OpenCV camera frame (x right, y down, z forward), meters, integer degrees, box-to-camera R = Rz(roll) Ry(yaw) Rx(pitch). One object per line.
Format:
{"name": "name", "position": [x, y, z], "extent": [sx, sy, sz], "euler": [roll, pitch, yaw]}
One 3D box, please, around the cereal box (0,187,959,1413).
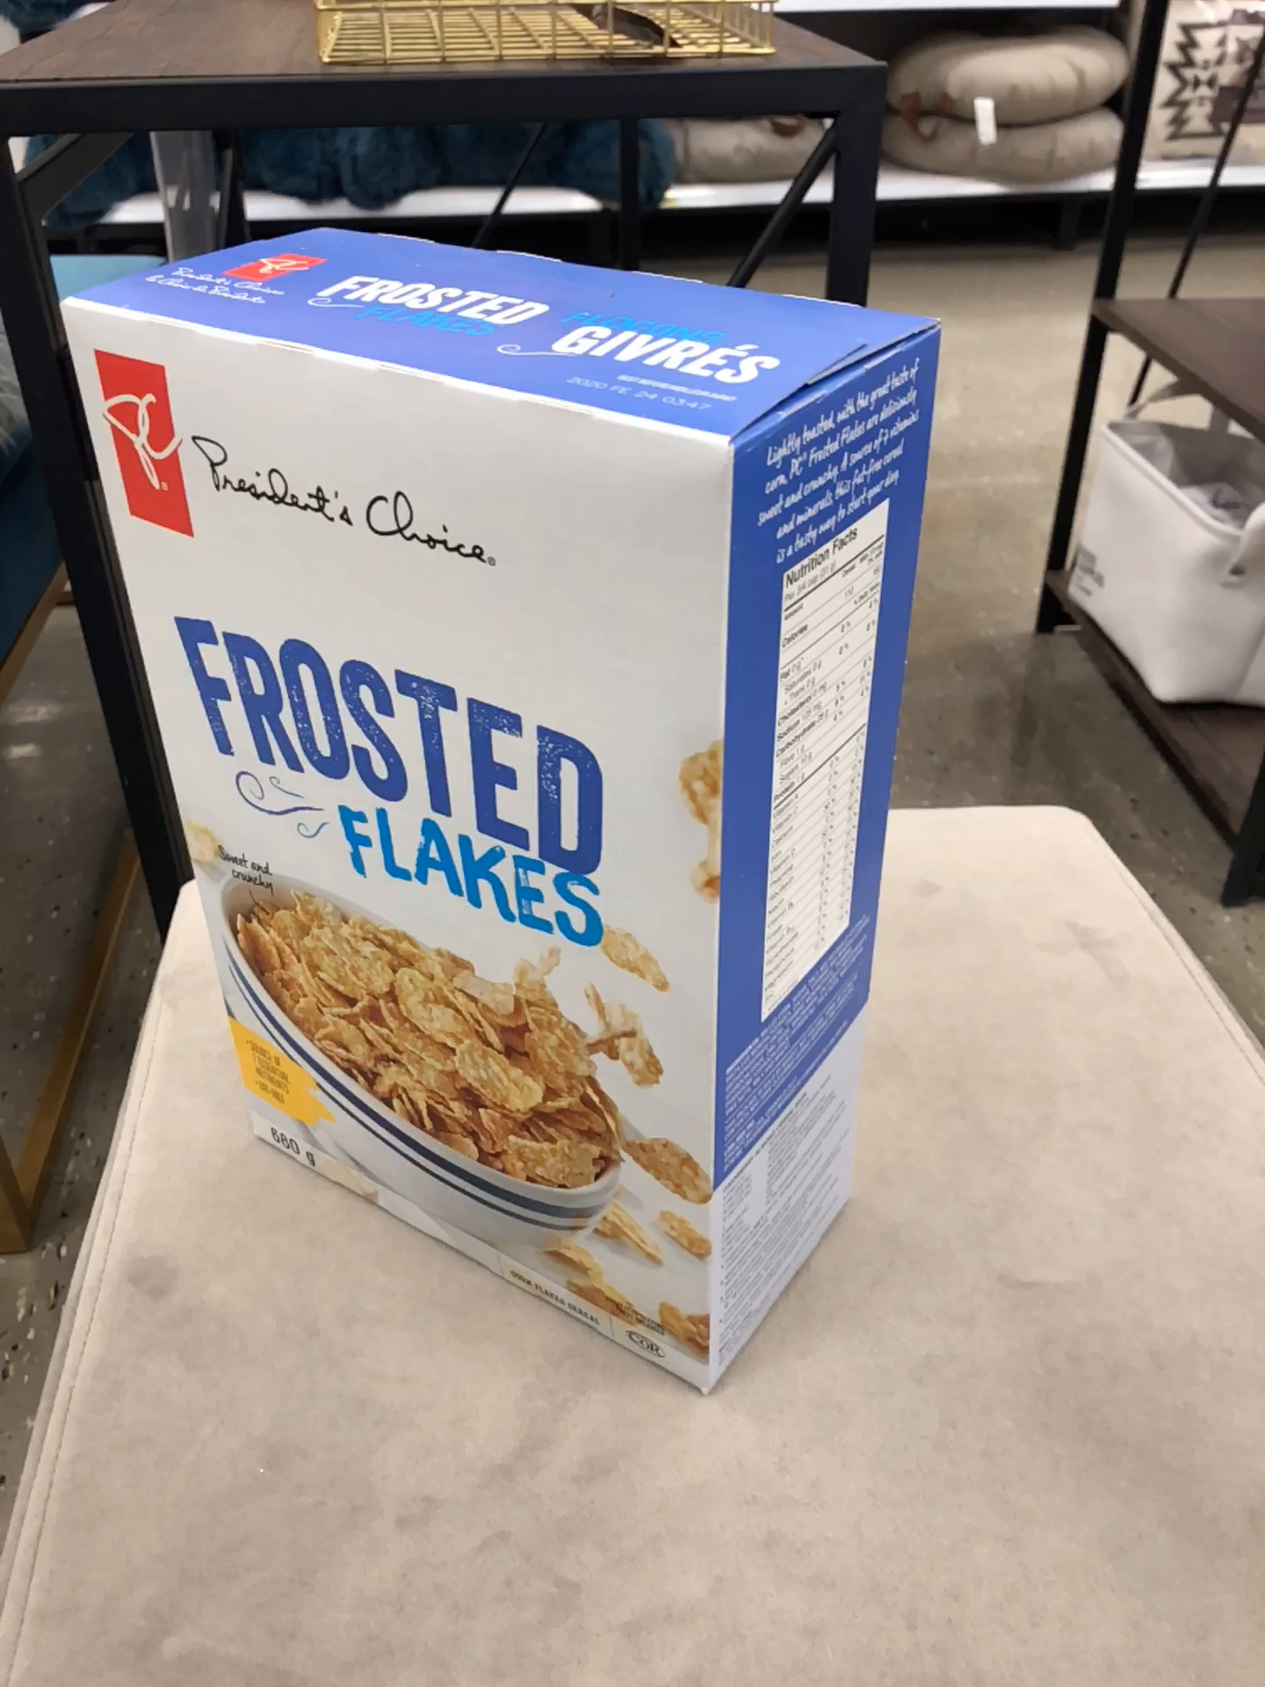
{"name": "cereal box", "position": [-0.039, -0.012, 0.400], "extent": [0.200, 0.289, 0.100], "euler": [21, 40, 28]}
